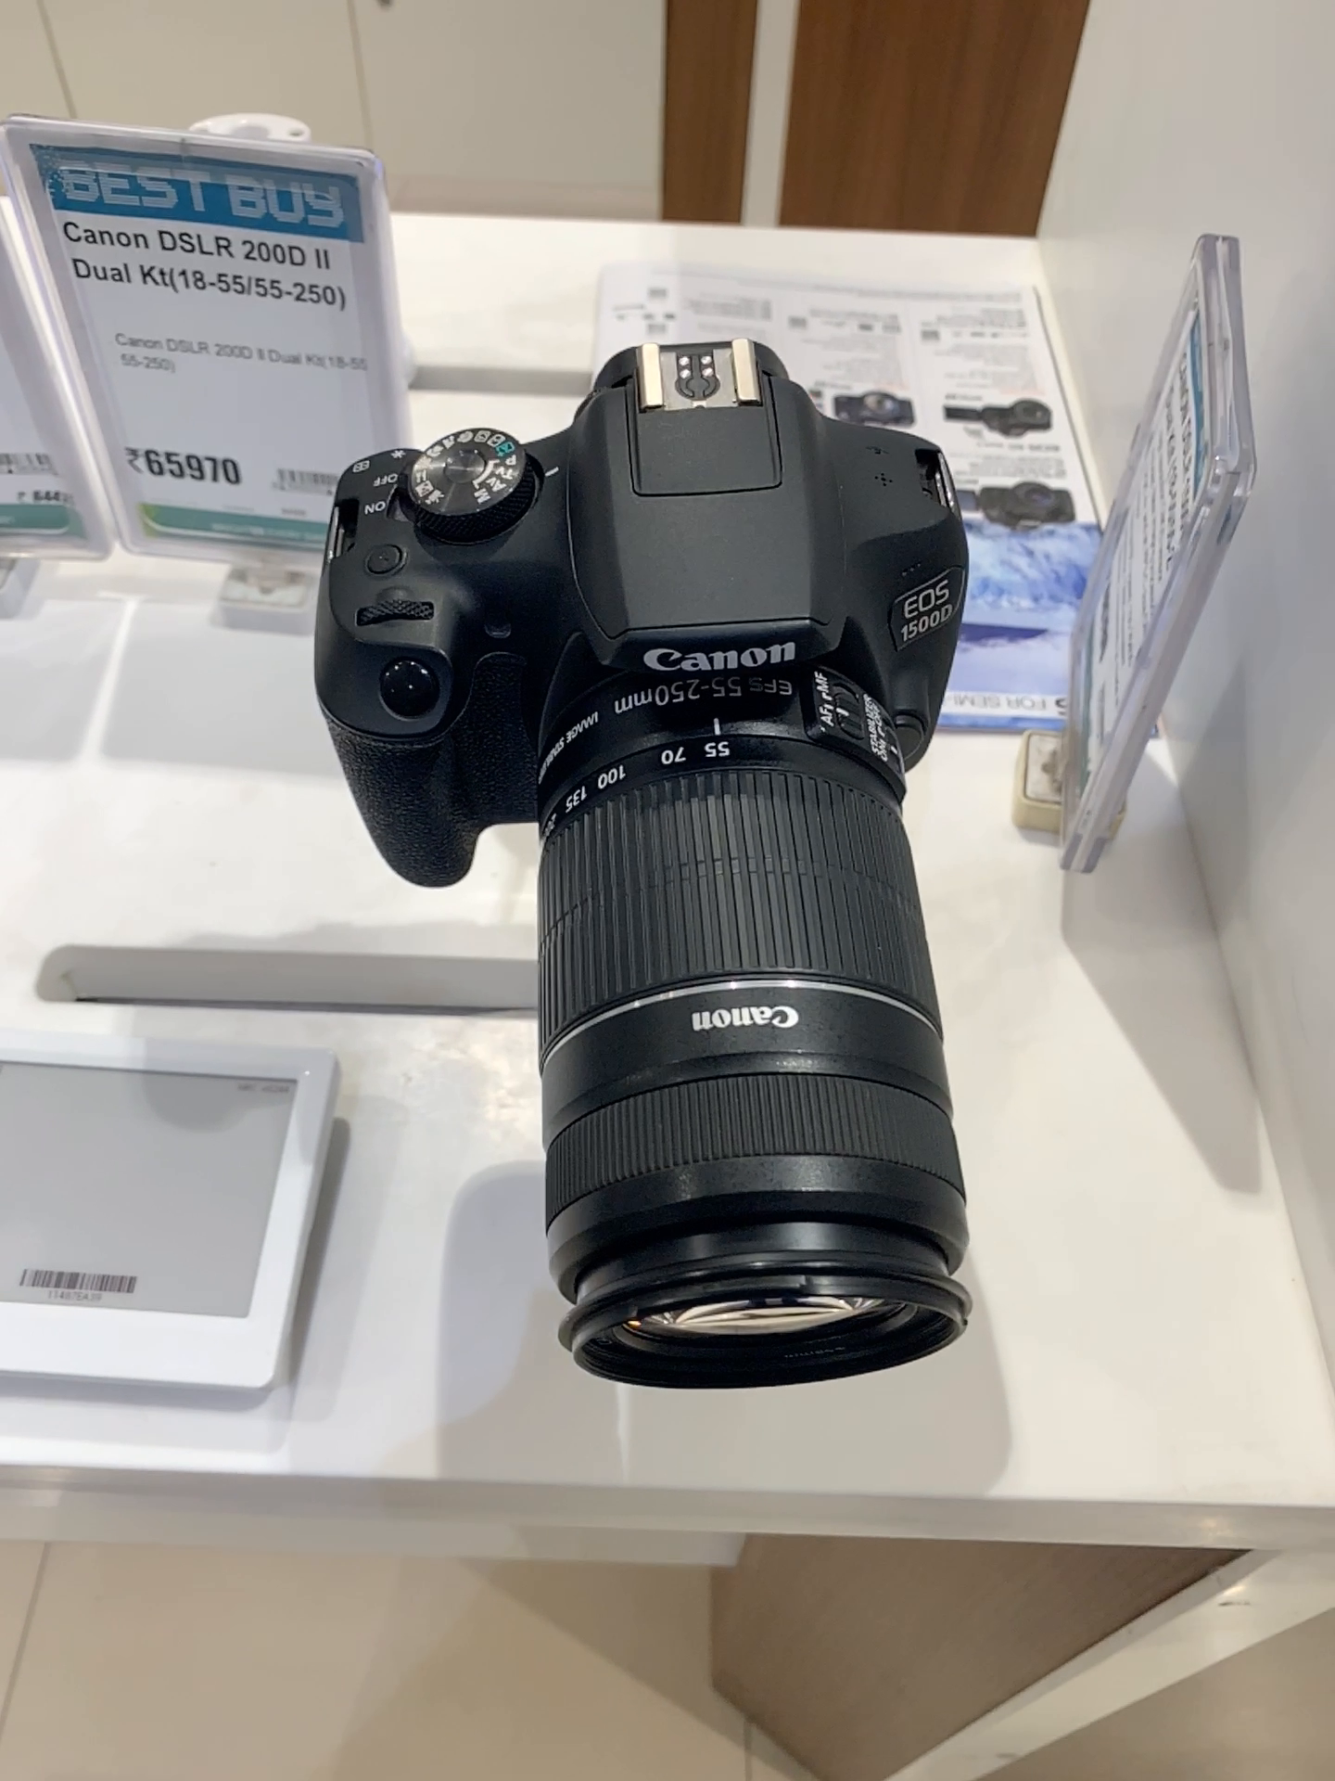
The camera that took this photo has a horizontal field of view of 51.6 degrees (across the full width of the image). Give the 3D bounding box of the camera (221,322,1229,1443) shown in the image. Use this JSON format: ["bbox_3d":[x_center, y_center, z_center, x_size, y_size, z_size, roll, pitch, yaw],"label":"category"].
[{"bbox_3d":[-0.001,-0.003,0.238,0.117,0.090,0.164,-3,61,-4],"label":"camera"}]
